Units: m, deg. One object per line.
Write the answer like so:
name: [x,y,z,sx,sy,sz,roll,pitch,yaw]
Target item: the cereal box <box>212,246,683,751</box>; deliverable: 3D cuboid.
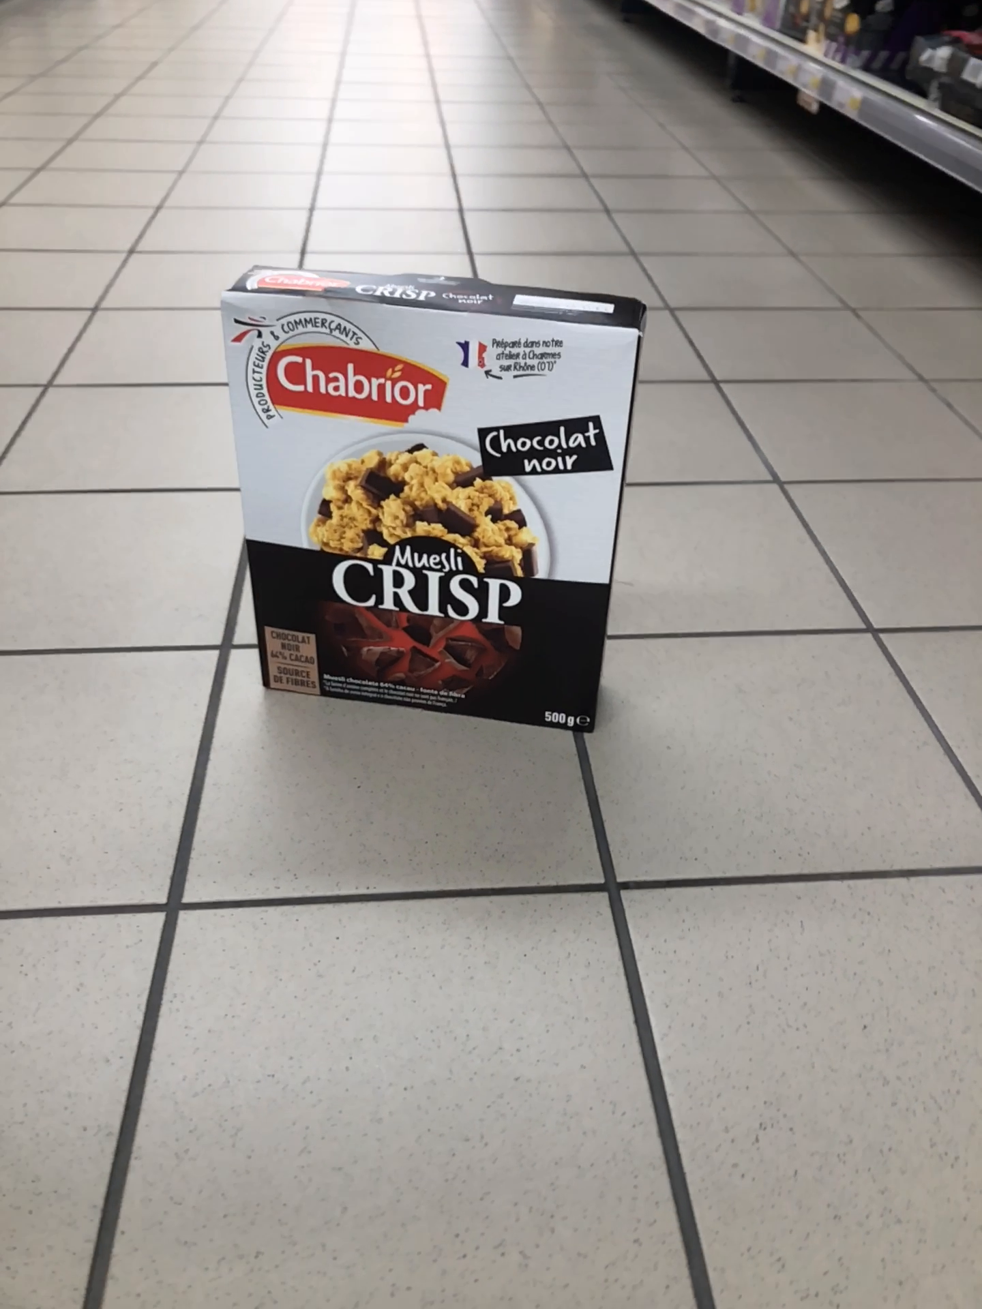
cereal box: [-0.020,-0.072,0.545,0.200,0.229,0.060,7,36,7]
